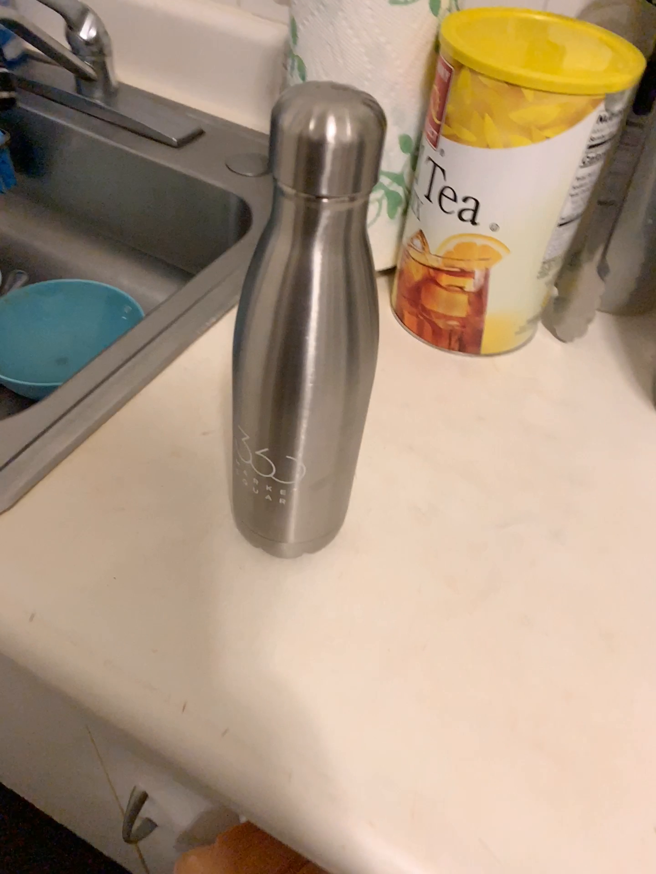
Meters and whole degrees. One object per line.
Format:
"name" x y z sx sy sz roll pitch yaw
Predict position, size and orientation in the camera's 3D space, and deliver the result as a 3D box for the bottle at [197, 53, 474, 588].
"bottle" -0.009 -0.033 0.327 0.070 0.249 0.070 4 48 -5
